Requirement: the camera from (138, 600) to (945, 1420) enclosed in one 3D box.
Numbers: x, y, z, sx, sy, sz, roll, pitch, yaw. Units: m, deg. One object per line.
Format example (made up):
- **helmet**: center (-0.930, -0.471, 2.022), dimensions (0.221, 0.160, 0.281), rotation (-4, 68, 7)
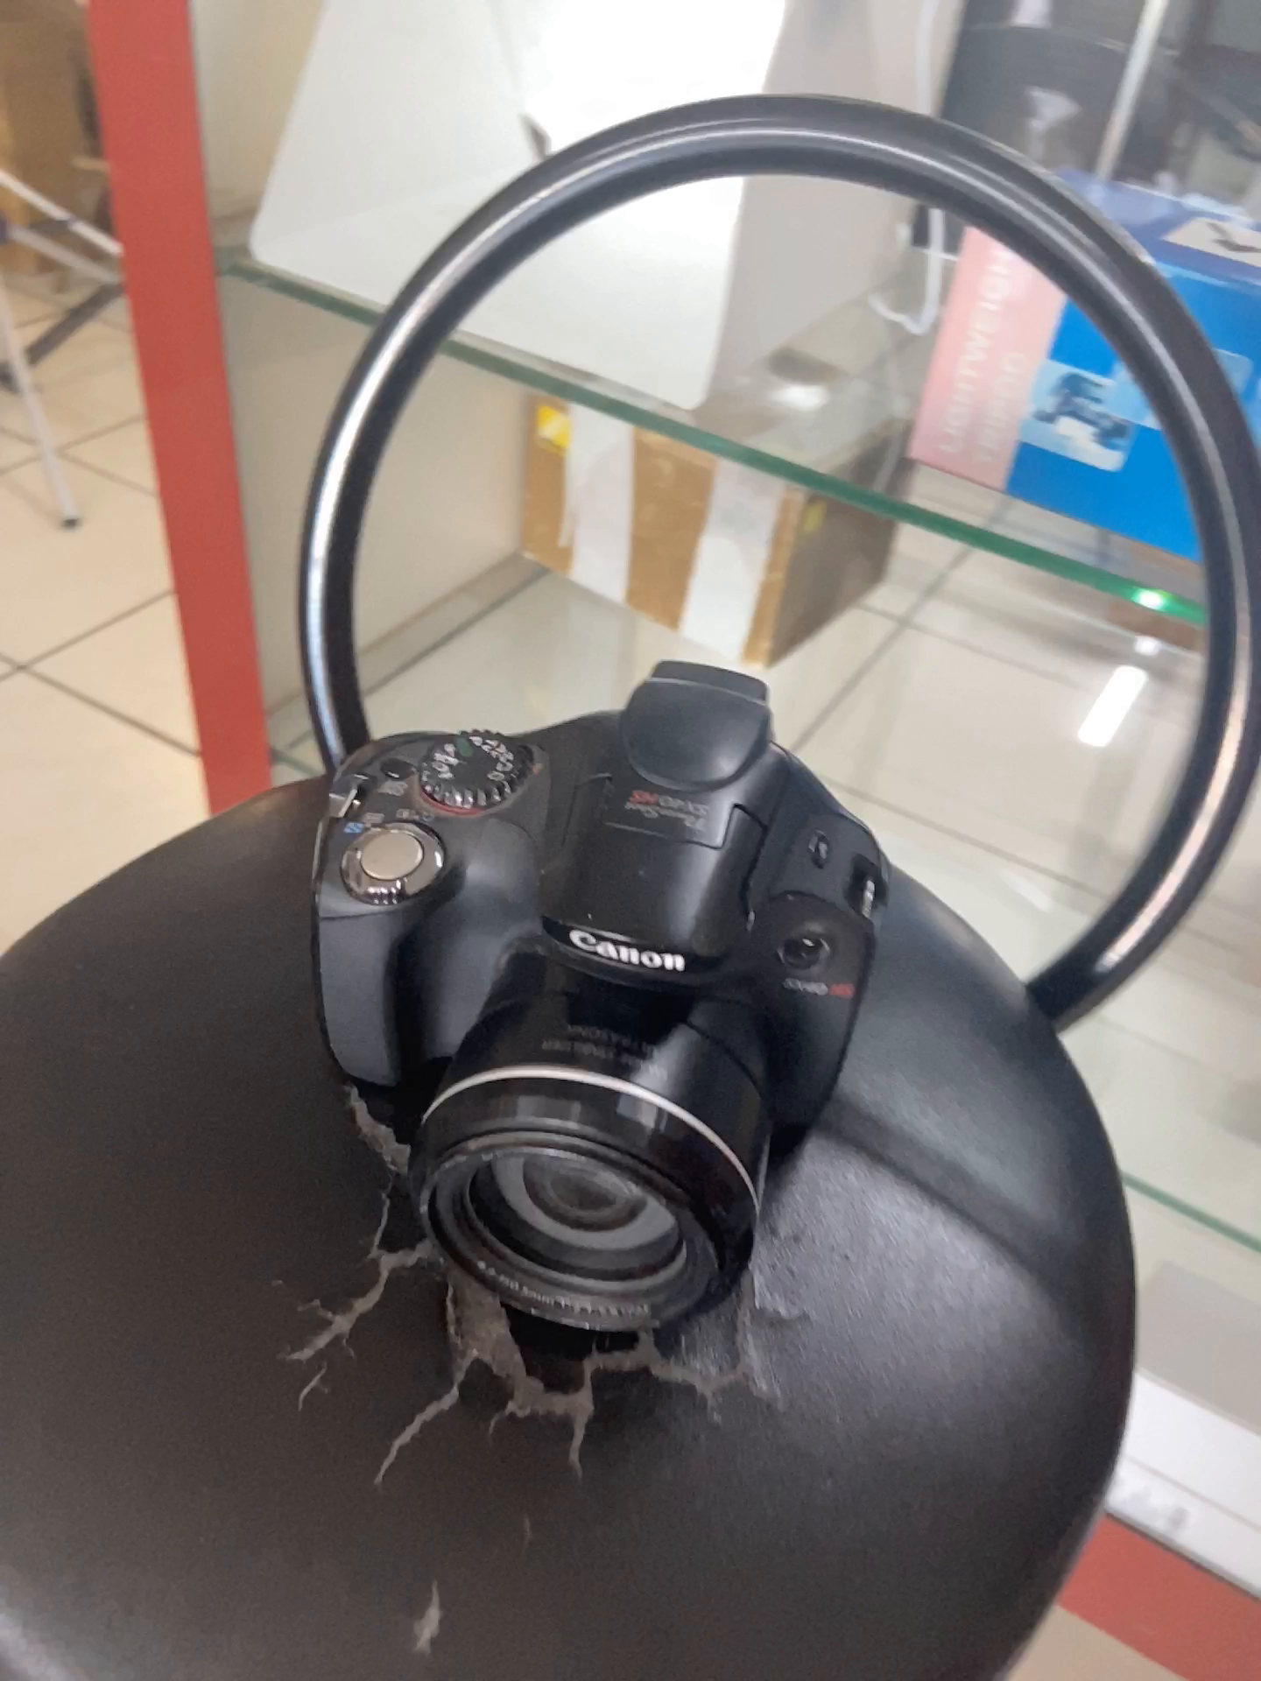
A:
- **camera**: center (-0.009, 0.028, 0.261), dimensions (0.120, 0.089, 0.111), rotation (10, 40, 4)
